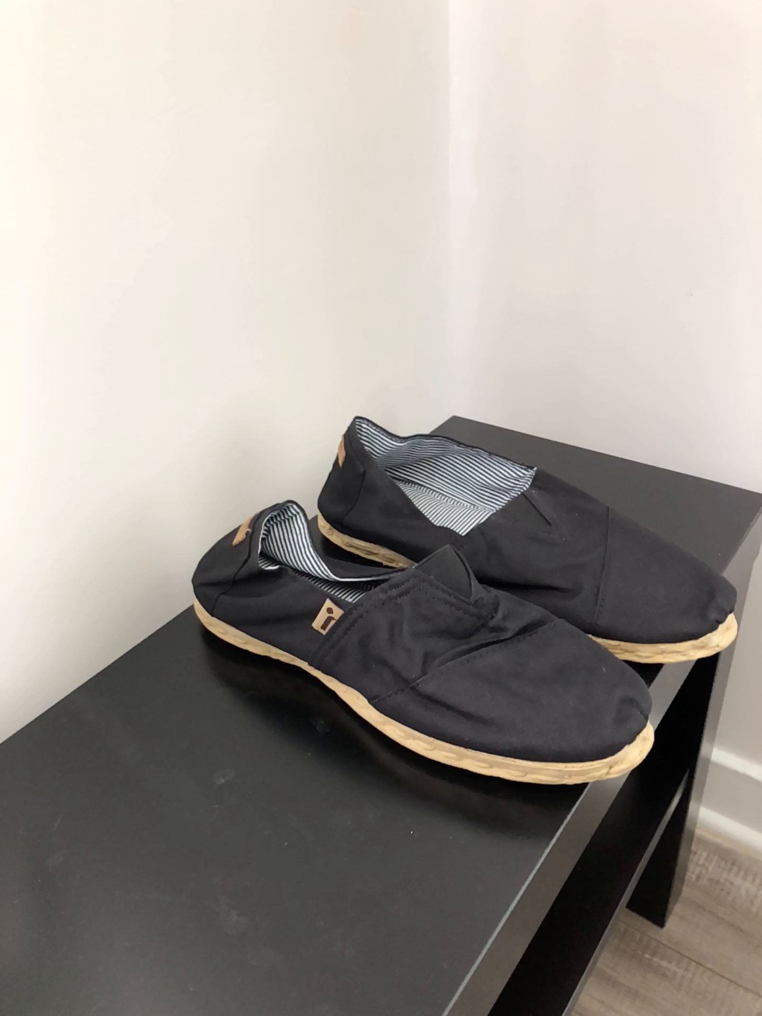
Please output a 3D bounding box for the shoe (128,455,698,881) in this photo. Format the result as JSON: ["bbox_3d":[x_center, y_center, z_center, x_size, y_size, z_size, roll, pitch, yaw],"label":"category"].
[{"bbox_3d":[0.005,0.062,0.440,0.275,0.080,0.101,19,38,31],"label":"shoe"}]

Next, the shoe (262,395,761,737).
[{"bbox_3d":[0.070,0.017,0.496,0.275,0.080,0.101,19,38,31],"label":"shoe"}]
